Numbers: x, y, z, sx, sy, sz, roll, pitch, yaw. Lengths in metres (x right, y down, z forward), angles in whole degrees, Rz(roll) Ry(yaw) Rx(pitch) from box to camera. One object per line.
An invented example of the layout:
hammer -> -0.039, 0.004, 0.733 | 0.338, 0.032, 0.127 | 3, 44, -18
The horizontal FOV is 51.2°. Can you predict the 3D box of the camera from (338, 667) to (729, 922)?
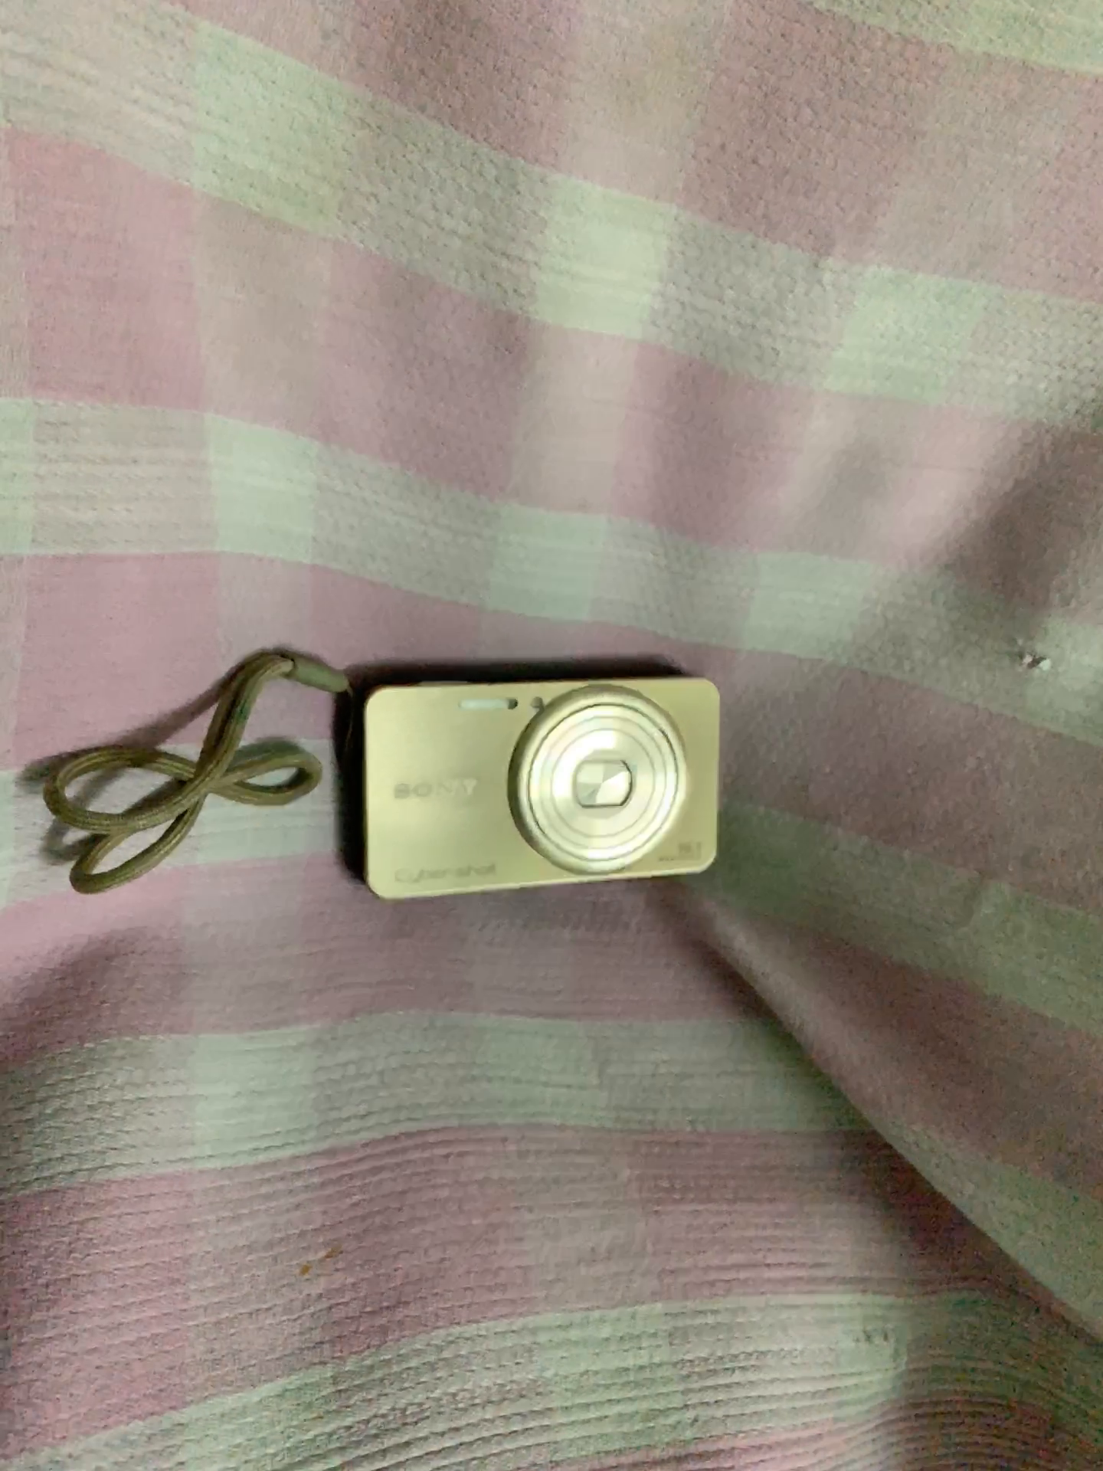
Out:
camera -> -0.004, 0.012, 0.284 | 0.092, 0.027, 0.053 | -3, 98, -18
